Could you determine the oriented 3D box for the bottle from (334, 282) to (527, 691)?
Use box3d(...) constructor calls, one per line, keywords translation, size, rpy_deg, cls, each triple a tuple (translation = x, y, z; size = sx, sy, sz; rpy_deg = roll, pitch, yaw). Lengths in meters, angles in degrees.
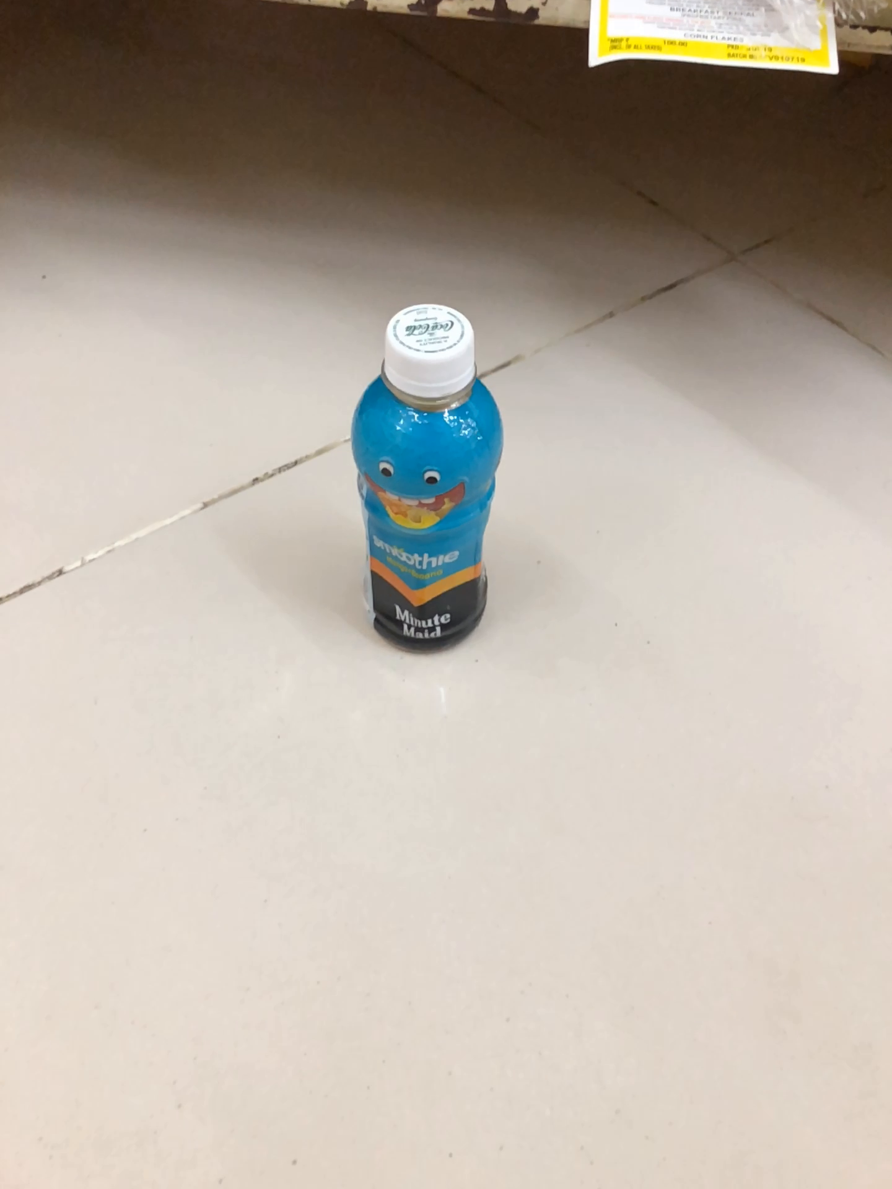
box3d(translation=(-0.007, -0.035, 0.395), size=(0.060, 0.159, 0.060), rpy_deg=(2, 49, -2), cls="bottle")
